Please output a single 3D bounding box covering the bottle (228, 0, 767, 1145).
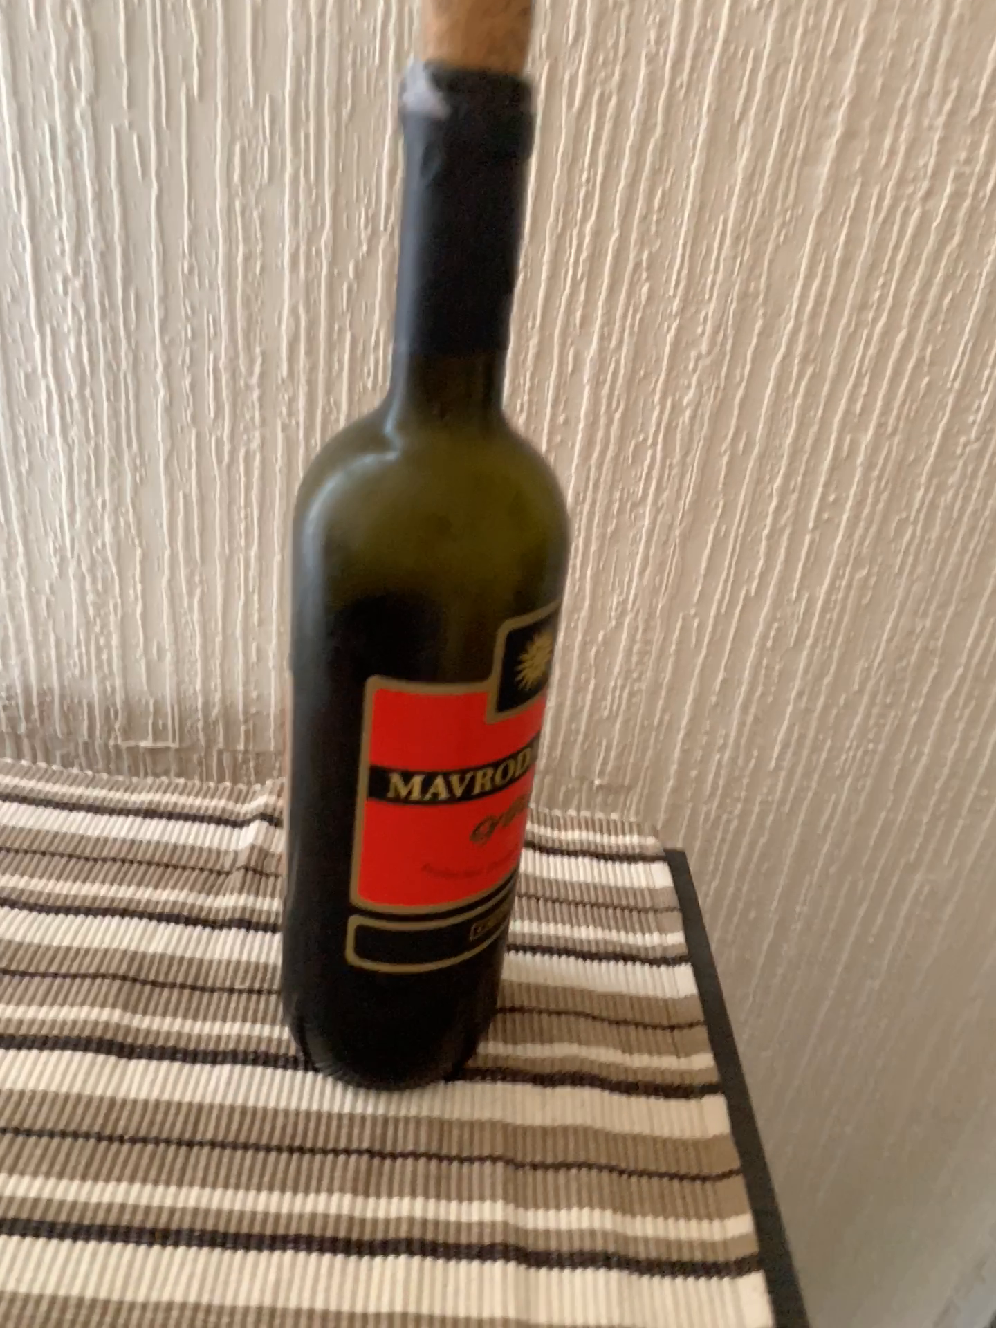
[{"bbox_3d":[-0.016,-0.019,0.286,0.080,0.317,0.080,6,29,-3],"label":"bottle"}]
